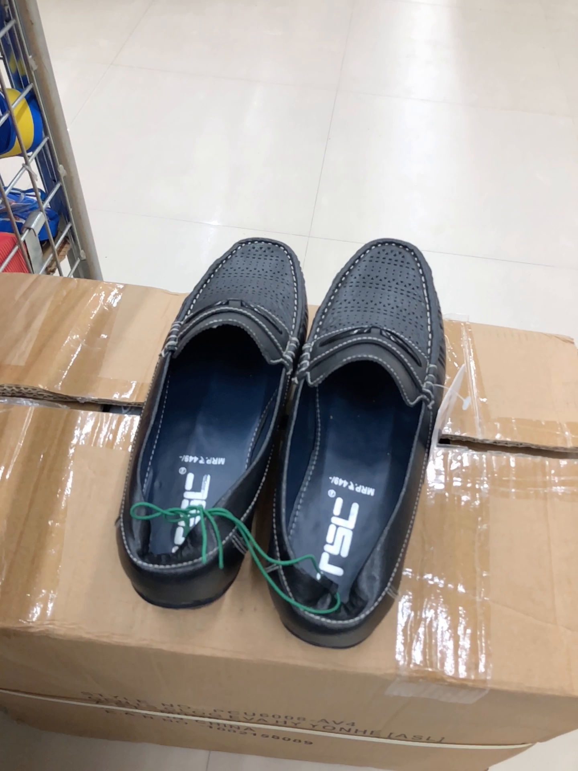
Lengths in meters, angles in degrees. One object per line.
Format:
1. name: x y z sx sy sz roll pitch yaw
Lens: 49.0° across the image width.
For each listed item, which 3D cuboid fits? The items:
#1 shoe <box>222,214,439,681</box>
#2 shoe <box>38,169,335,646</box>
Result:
1. shoe: 0.040 0.020 0.441 0.100 0.089 0.312 9 52 4
2. shoe: -0.043 -0.009 0.421 0.100 0.089 0.312 9 52 4
